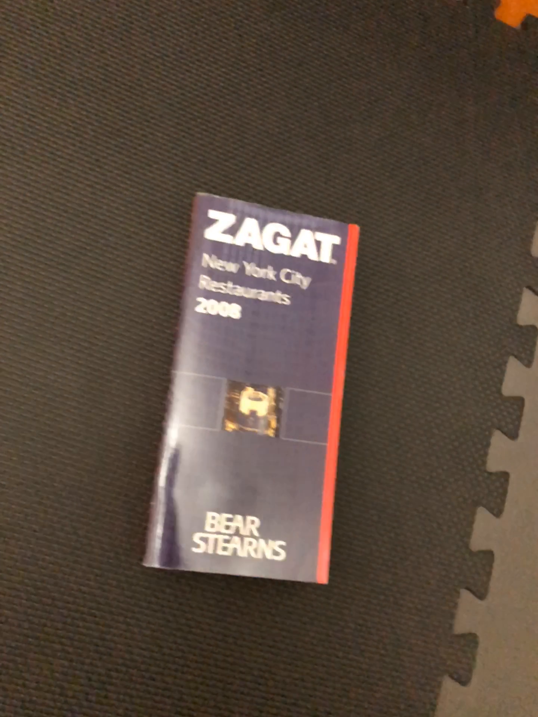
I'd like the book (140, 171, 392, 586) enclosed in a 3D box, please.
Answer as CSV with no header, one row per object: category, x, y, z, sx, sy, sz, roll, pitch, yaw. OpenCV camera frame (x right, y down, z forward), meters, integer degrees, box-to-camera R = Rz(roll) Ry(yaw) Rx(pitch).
book,0.002,0.012,0.352,0.120,0.030,0.220,9,80,-13
